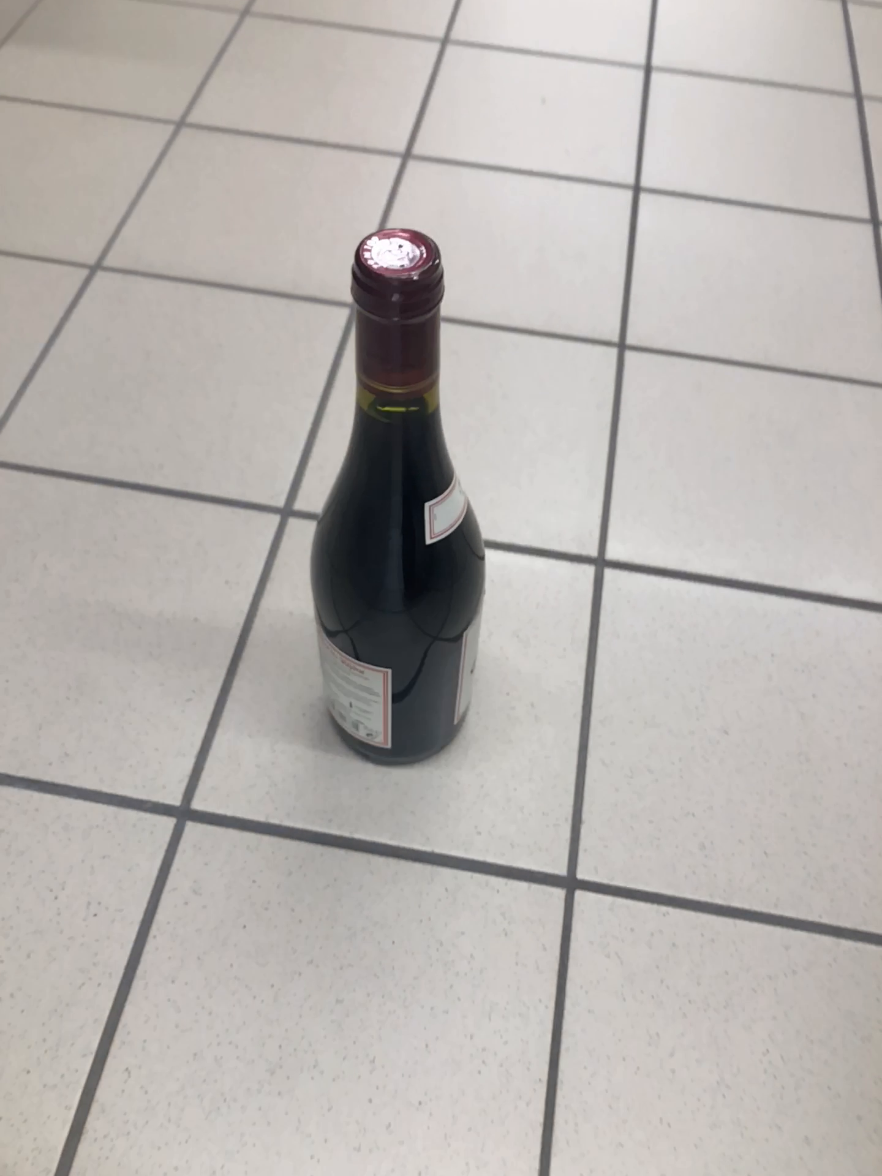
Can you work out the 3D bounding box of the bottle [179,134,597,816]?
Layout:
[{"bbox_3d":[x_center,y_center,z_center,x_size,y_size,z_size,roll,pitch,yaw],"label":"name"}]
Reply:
[{"bbox_3d":[-0.022,-0.020,0.415,0.090,0.288,0.090,1,54,-2],"label":"bottle"}]
